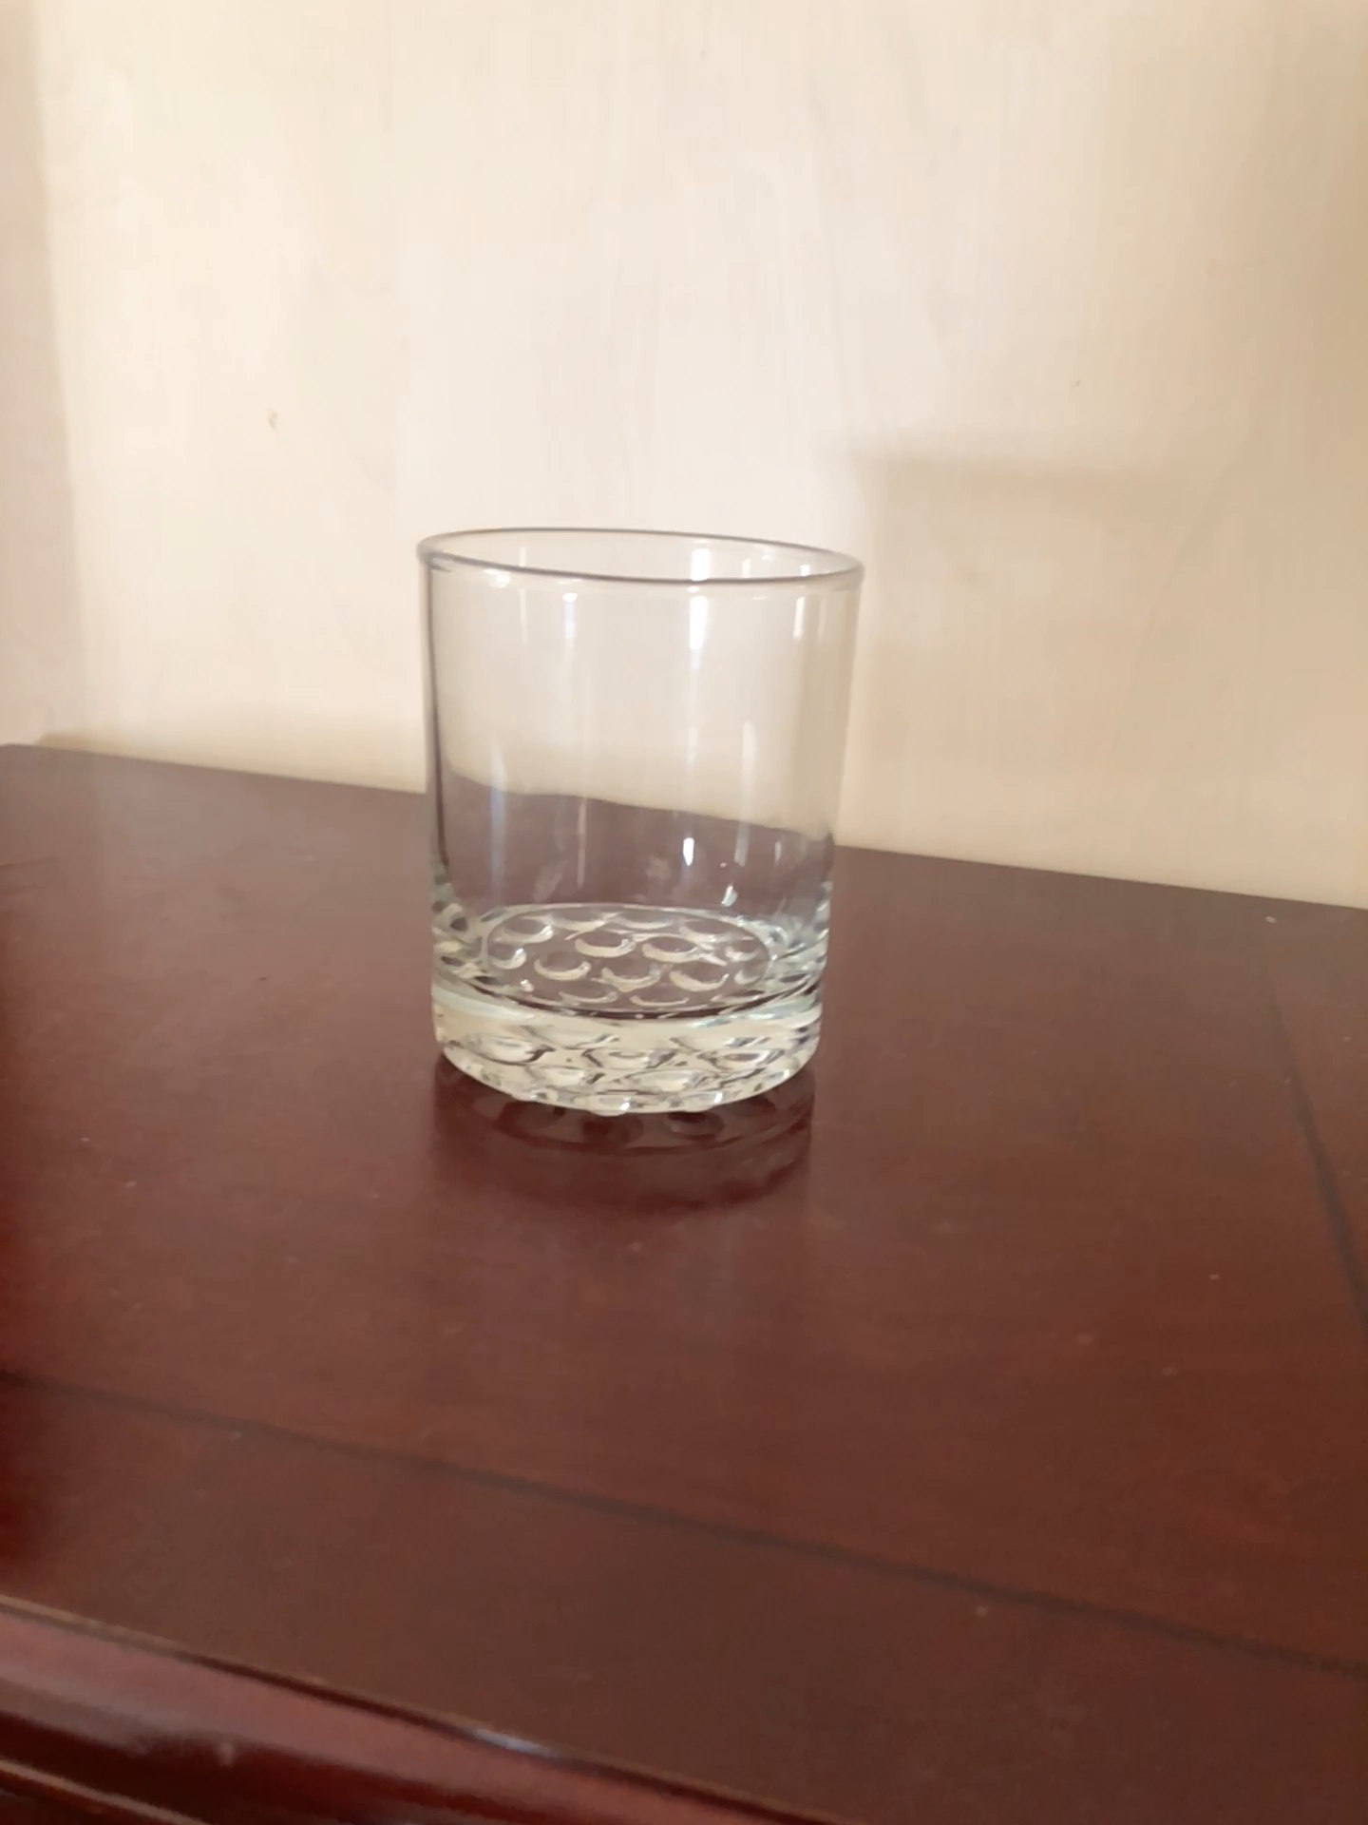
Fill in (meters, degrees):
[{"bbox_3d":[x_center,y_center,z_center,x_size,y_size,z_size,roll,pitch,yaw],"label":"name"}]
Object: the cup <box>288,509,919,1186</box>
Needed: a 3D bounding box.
[{"bbox_3d":[-0.012,-0.020,0.280,0.081,0.097,0.082,2,18,-1],"label":"cup"}]
